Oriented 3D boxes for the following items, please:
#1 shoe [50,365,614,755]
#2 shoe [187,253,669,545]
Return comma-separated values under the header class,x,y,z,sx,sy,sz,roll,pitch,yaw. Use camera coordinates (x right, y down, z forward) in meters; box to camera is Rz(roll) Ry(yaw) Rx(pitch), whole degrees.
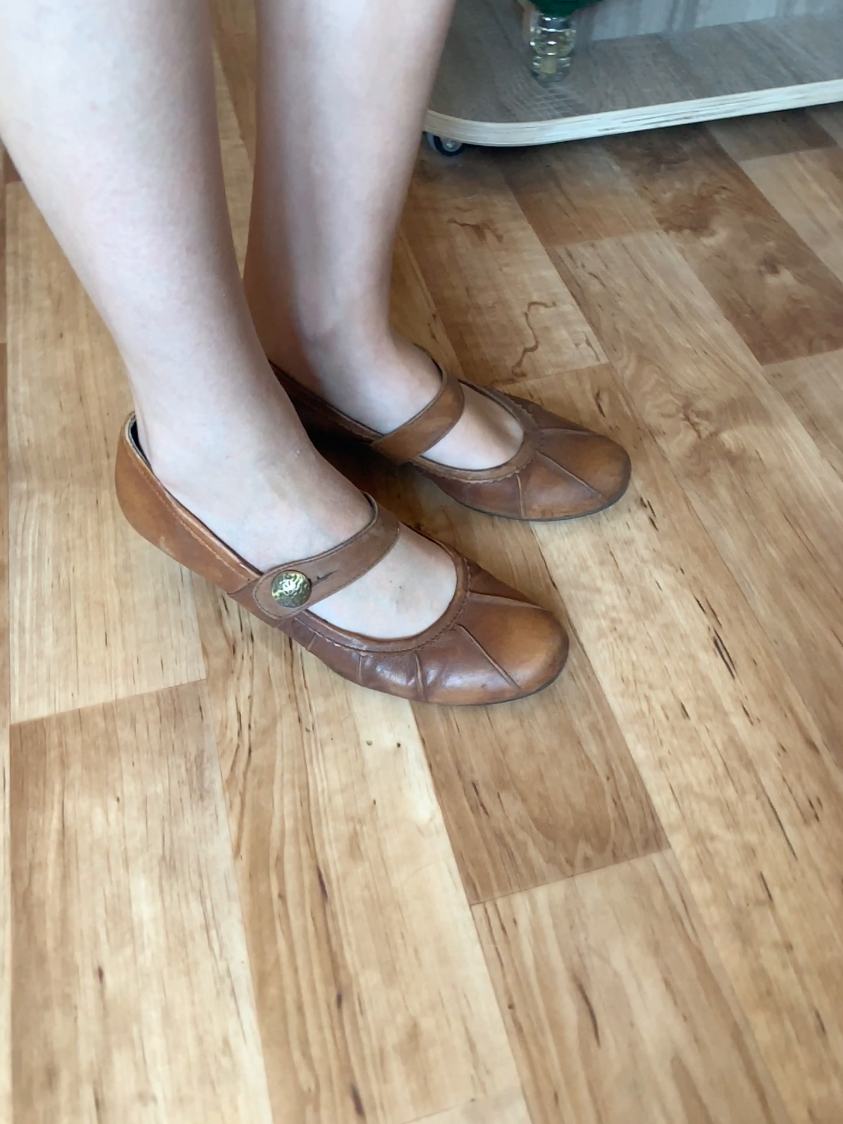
class,x,y,z,sx,sy,sz,roll,pitch,yaw
shoe,-0.043,-0.004,0.443,0.250,0.090,0.090,19,57,12
shoe,0.006,-0.097,0.508,0.250,0.090,0.090,12,56,7
